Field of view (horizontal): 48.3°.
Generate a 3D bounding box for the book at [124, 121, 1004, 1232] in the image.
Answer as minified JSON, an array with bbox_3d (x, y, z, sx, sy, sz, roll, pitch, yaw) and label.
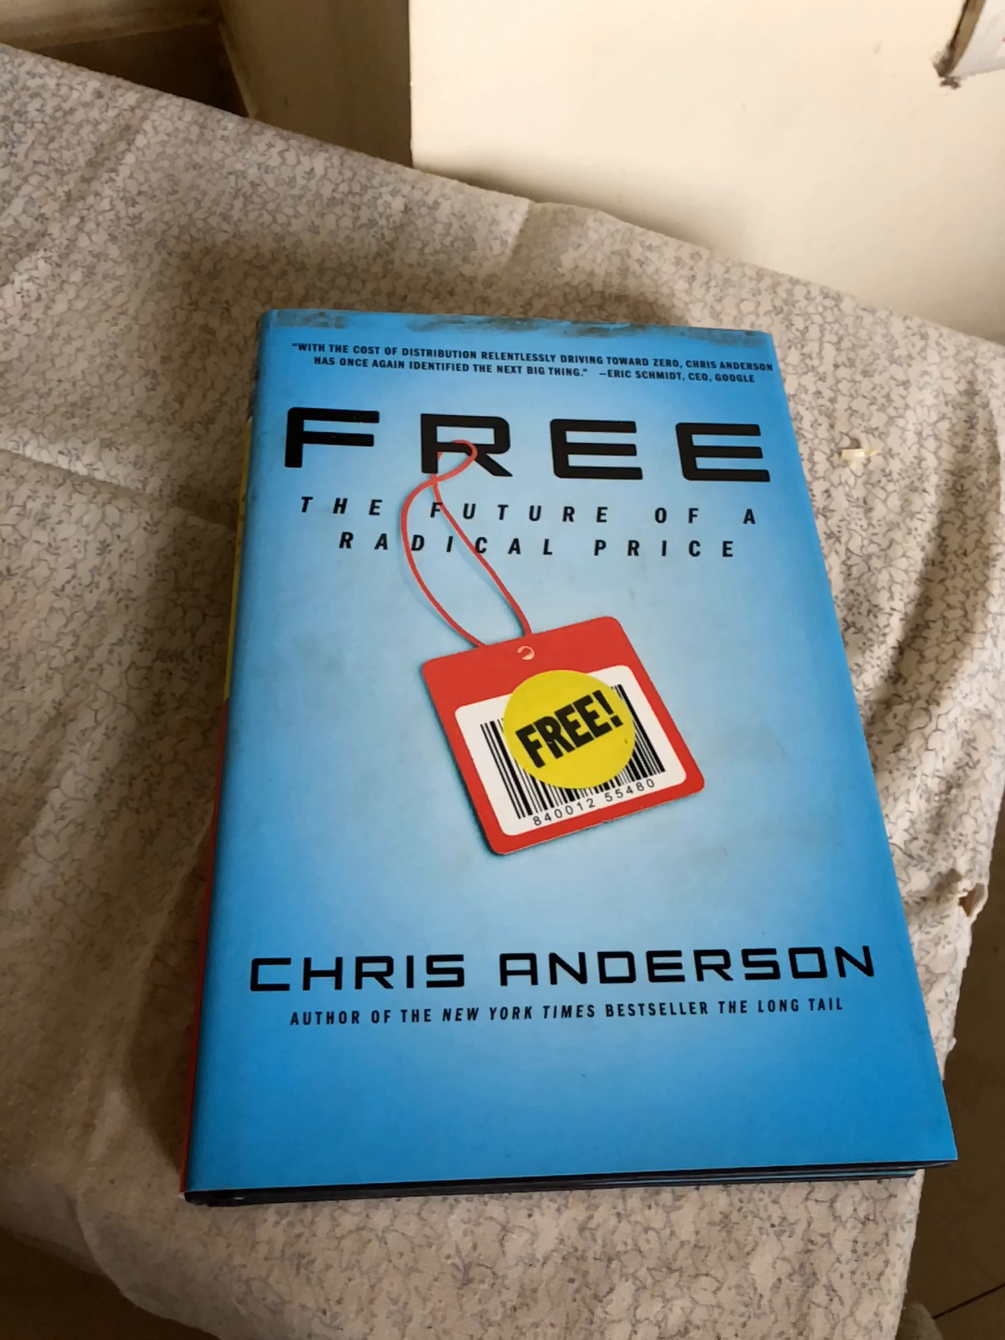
[{"bbox_3d":[0.025,-0.027,0.269,0.180,0.040,0.281,0,58,-4],"label":"book"}]
